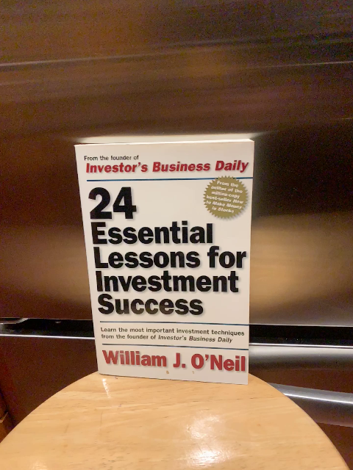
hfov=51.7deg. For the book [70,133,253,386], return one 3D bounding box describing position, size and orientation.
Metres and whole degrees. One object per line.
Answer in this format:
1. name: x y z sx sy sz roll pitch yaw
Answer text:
1. book: -0.008 0.027 0.338 0.150 0.229 0.030 0 16 10
